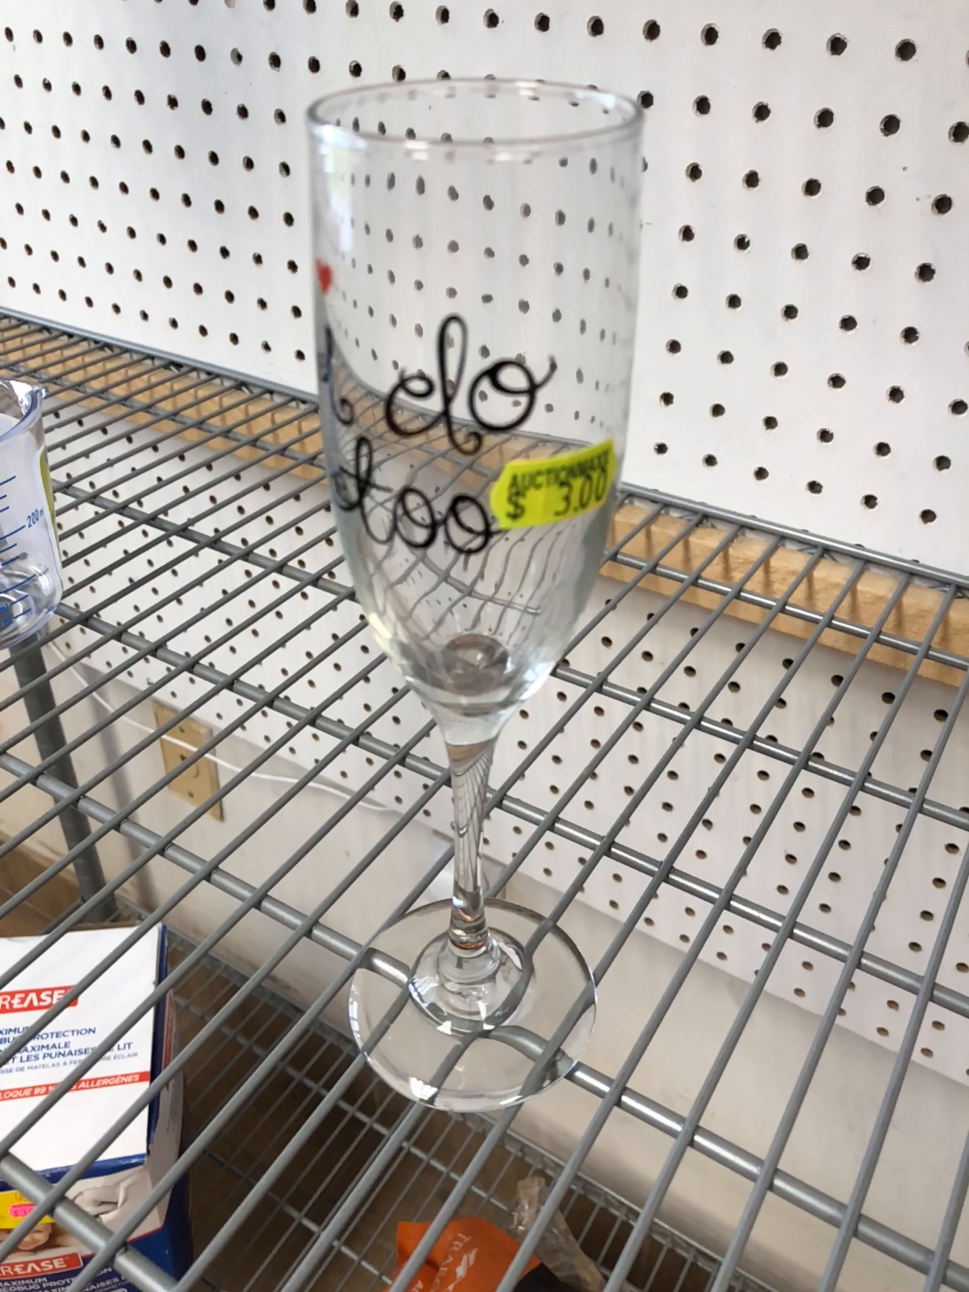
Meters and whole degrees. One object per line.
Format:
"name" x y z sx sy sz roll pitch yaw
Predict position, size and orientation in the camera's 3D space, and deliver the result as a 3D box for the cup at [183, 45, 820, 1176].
"cup" 0.004 0.005 0.216 0.070 0.209 0.070 1 35 -1
